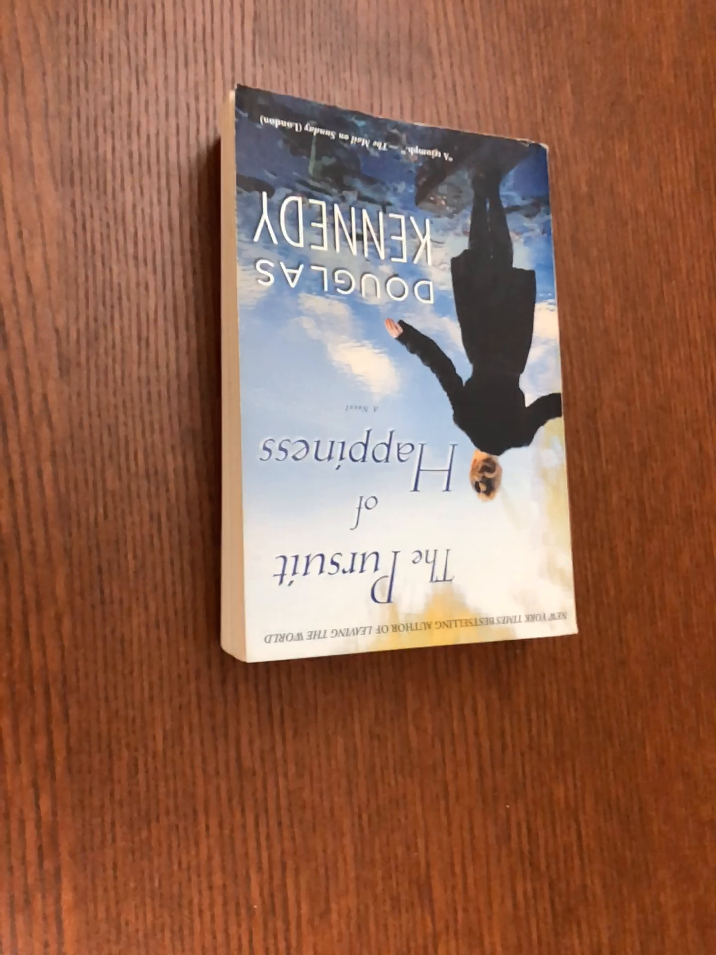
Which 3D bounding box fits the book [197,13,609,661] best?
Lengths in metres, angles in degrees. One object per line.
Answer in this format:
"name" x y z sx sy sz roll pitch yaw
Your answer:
"book" 0.017 -0.052 0.338 0.160 0.050 0.240 1 82 -22
